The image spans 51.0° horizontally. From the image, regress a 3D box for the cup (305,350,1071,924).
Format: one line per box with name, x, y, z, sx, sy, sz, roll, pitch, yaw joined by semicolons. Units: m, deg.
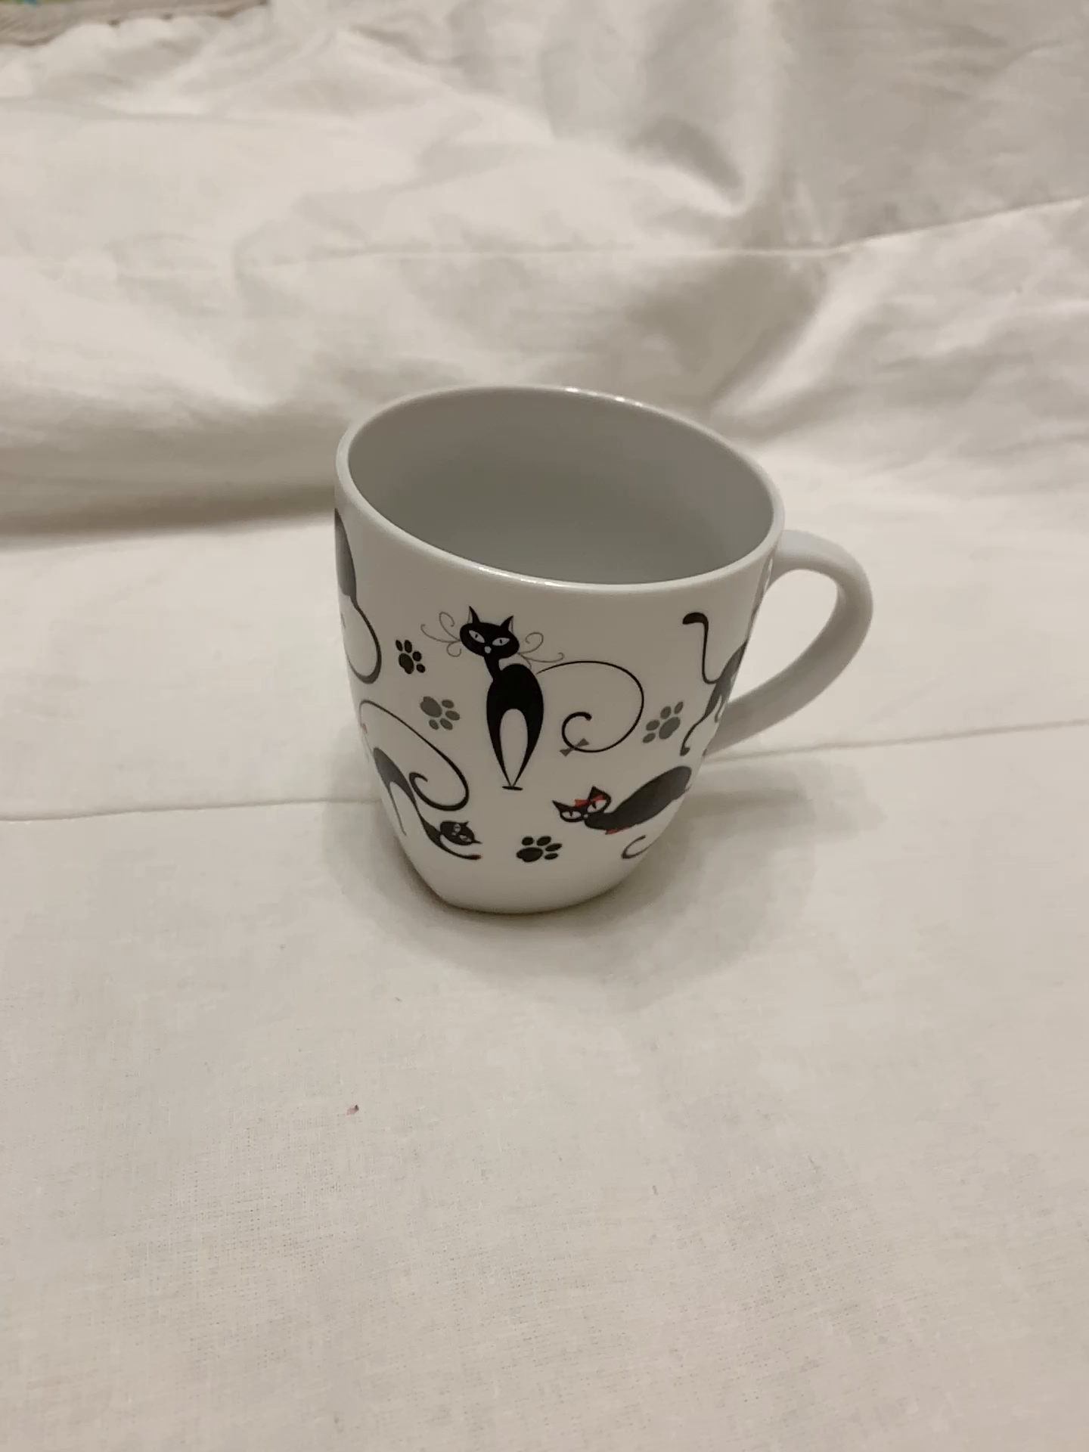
cup;0.018;-0.018;0.228;0.118;0.077;0.081;2;40;-6
